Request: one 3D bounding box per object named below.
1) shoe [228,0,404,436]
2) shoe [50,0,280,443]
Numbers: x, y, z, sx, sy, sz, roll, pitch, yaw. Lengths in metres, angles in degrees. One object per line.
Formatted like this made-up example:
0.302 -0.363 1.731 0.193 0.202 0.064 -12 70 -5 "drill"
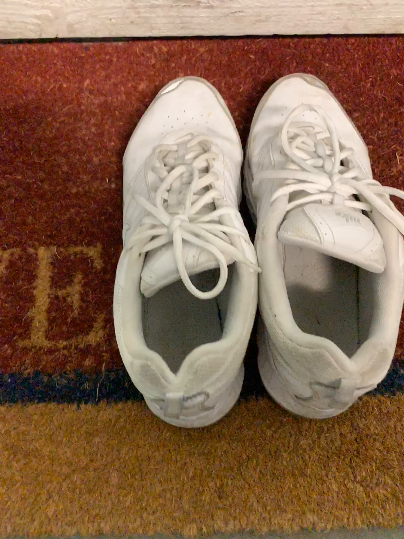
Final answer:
0.088 -0.048 0.306 0.120 0.129 0.301 -1 73 0 "shoe"
-0.020 -0.044 0.307 0.110 0.129 0.301 -1 73 0 "shoe"
